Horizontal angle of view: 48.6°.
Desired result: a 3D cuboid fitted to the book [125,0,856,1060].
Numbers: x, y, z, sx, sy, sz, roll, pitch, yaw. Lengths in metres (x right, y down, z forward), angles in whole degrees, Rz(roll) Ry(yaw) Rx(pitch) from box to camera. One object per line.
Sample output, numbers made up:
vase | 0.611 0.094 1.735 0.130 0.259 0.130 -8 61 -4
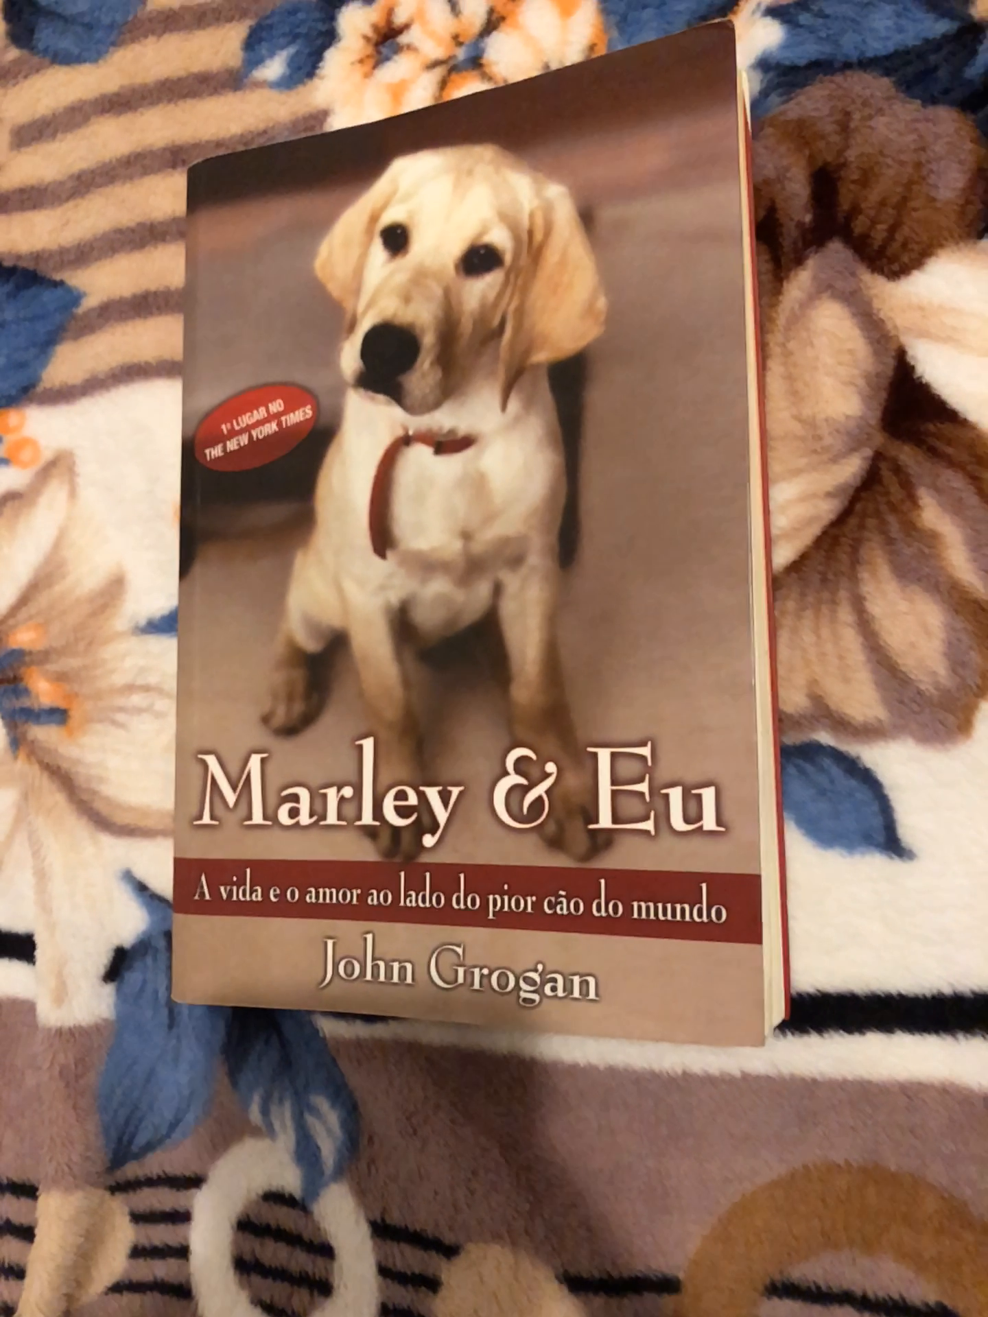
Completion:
book | -0.007 -0.031 0.272 0.170 0.040 0.230 -4 83 21
